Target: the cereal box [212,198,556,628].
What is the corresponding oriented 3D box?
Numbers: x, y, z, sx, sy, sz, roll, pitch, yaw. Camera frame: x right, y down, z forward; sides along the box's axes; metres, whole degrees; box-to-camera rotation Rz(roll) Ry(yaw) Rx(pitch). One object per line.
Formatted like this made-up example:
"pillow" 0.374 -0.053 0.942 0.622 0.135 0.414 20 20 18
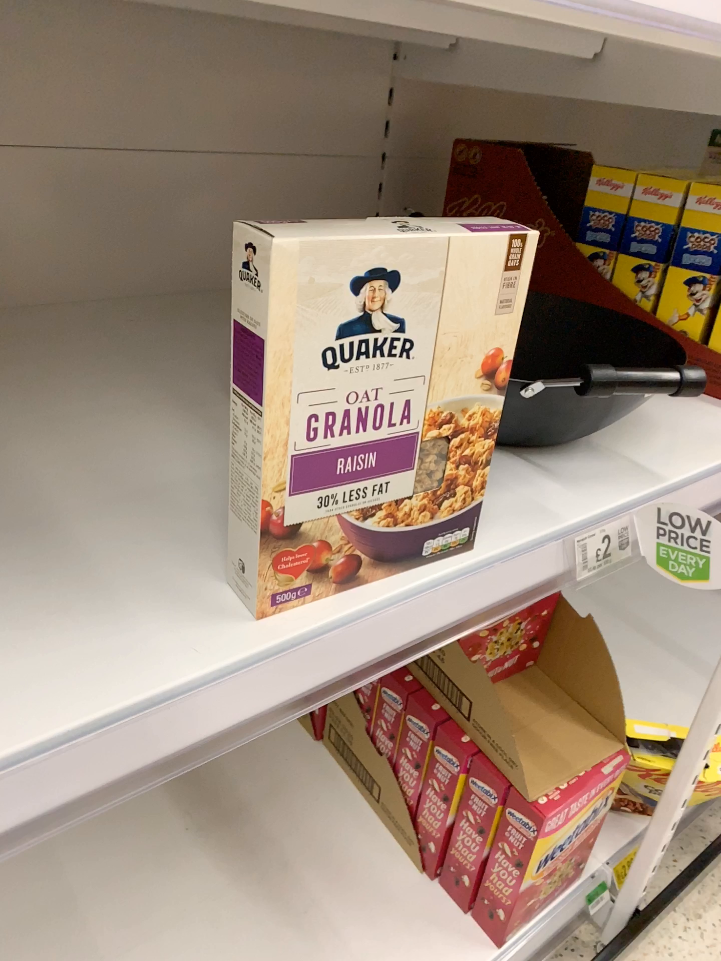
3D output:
"cereal box" 0.010 -0.048 0.487 0.201 0.248 0.060 -13 34 -33
